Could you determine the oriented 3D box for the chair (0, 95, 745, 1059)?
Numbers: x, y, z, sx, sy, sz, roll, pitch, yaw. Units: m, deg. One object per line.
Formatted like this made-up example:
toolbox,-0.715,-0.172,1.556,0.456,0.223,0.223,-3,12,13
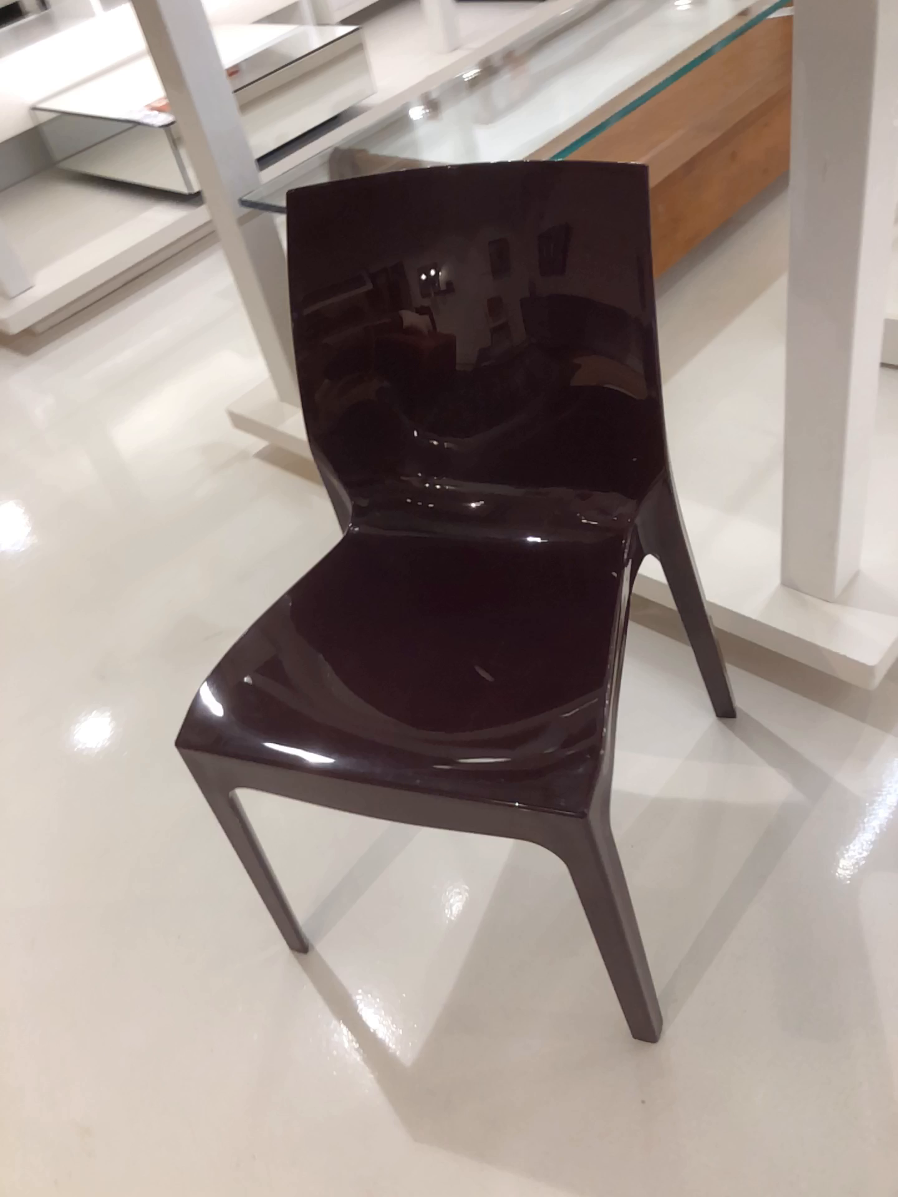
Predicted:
chair,0.019,0.000,1.097,0.531,0.814,0.564,5,46,21
